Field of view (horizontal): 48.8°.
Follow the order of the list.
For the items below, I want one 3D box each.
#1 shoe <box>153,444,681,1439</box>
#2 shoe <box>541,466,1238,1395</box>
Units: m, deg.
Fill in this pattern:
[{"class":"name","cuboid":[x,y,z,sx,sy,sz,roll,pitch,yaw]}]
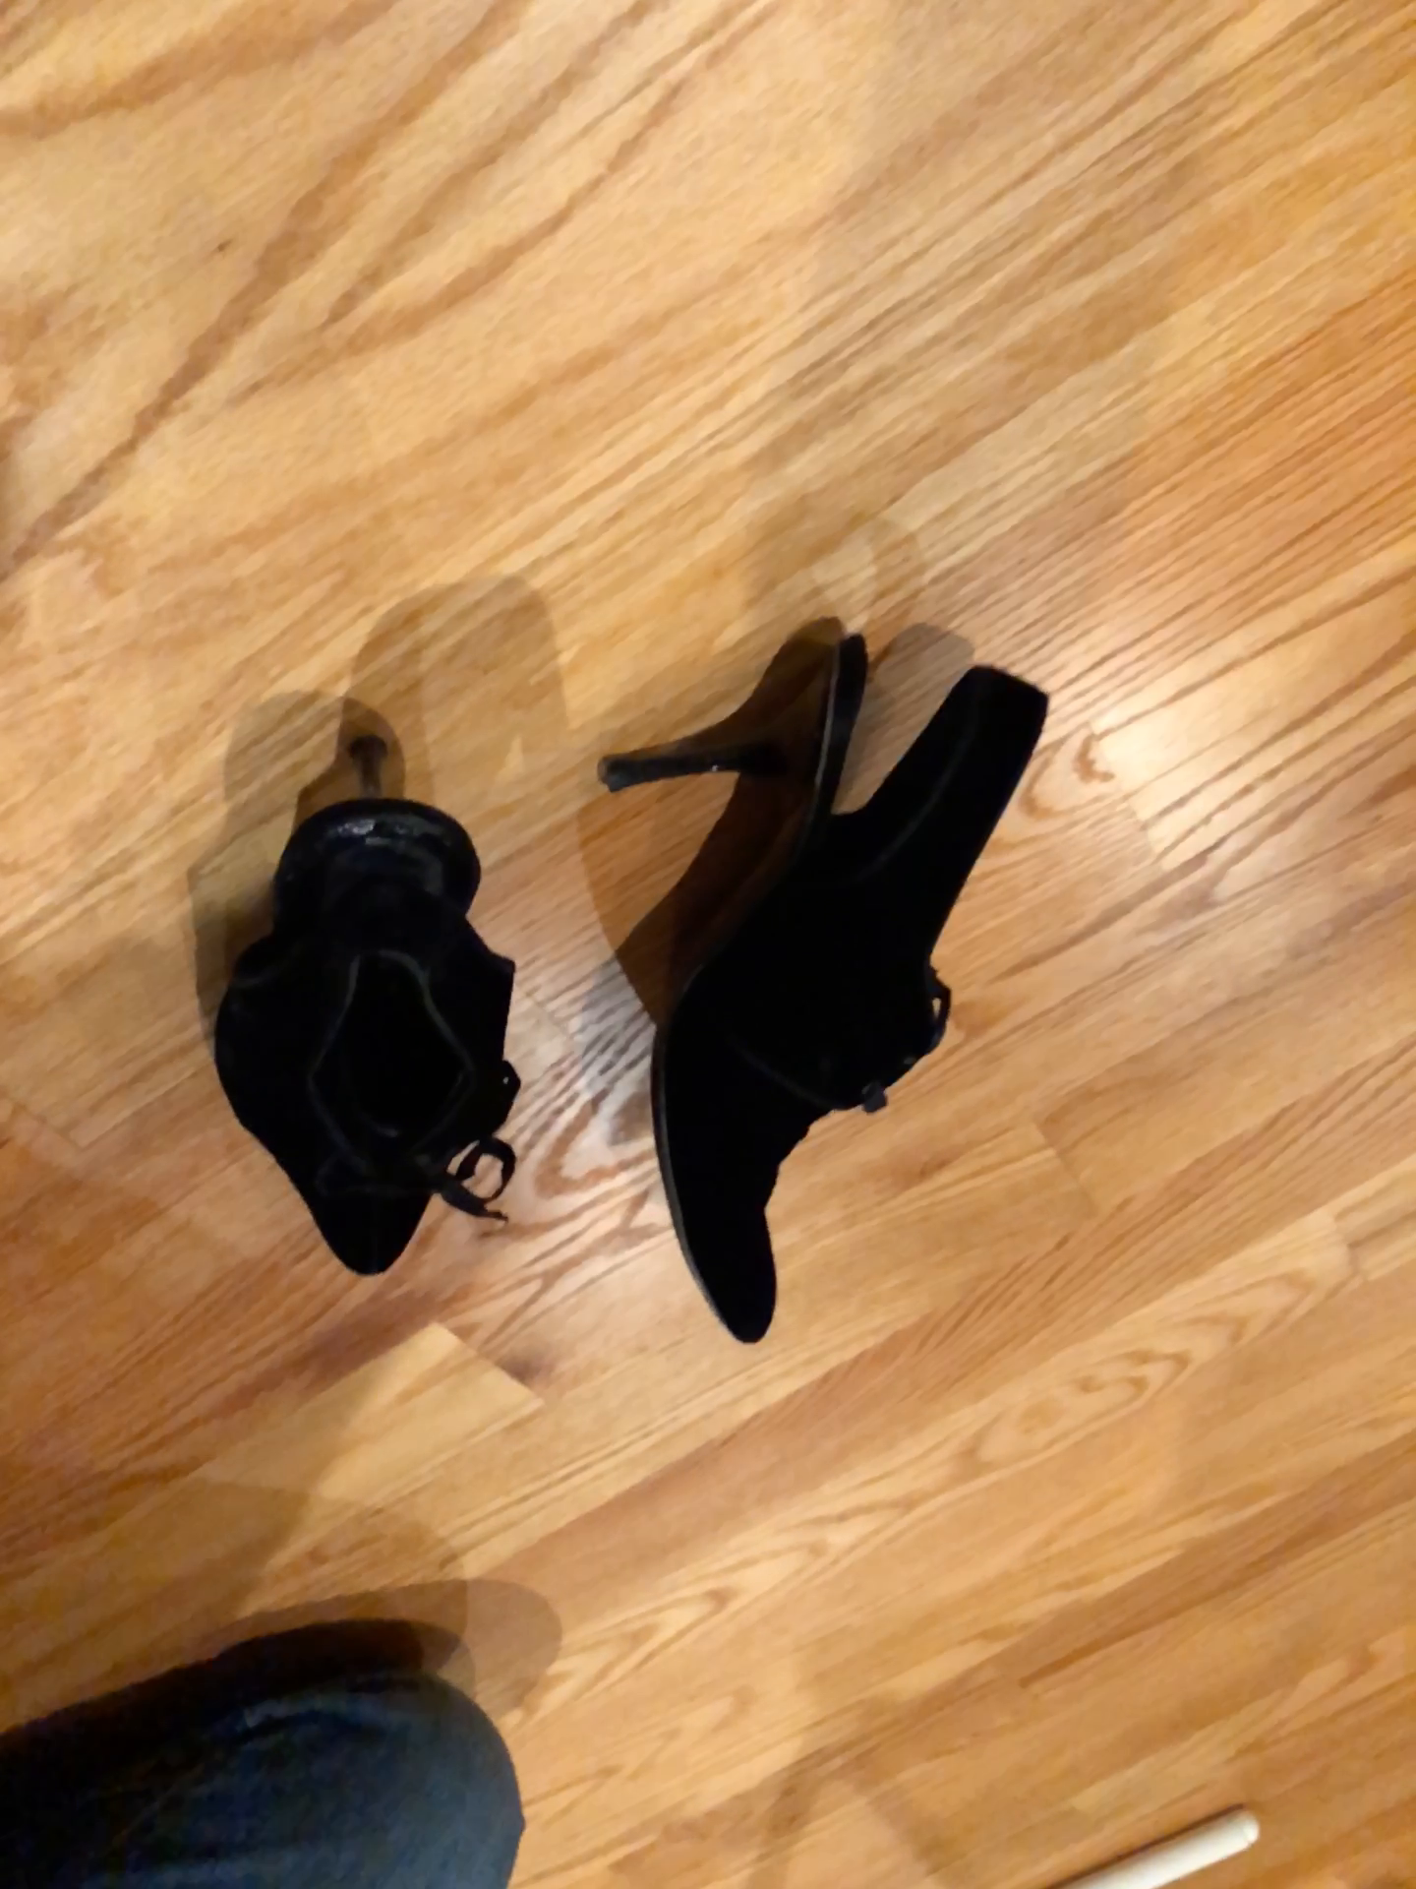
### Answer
[{"class":"shoe","cuboid":[-0.085,0.006,0.441,0.107,0.117,0.253,-3,128,-15]},{"class":"shoe","cuboid":[0.033,0.007,0.466,0.118,0.107,0.253,2,126,-17]}]
